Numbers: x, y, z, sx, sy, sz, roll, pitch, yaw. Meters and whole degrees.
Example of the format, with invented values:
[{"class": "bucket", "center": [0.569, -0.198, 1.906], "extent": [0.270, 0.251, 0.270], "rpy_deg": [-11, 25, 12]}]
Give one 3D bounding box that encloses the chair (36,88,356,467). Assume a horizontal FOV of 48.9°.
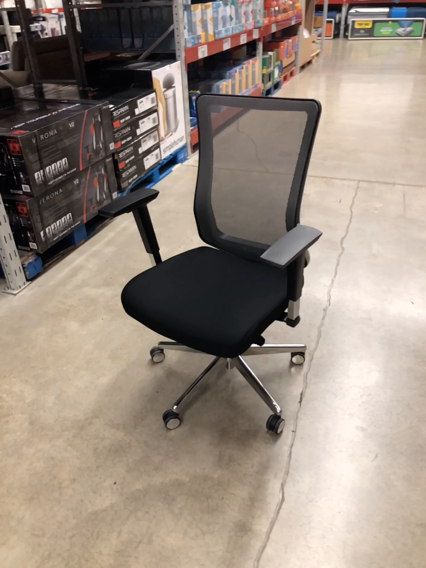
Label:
[{"class": "chair", "center": [0.017, -0.081, 1.630], "extent": [0.690, 0.987, 0.712], "rpy_deg": [12, 35, 22]}]
